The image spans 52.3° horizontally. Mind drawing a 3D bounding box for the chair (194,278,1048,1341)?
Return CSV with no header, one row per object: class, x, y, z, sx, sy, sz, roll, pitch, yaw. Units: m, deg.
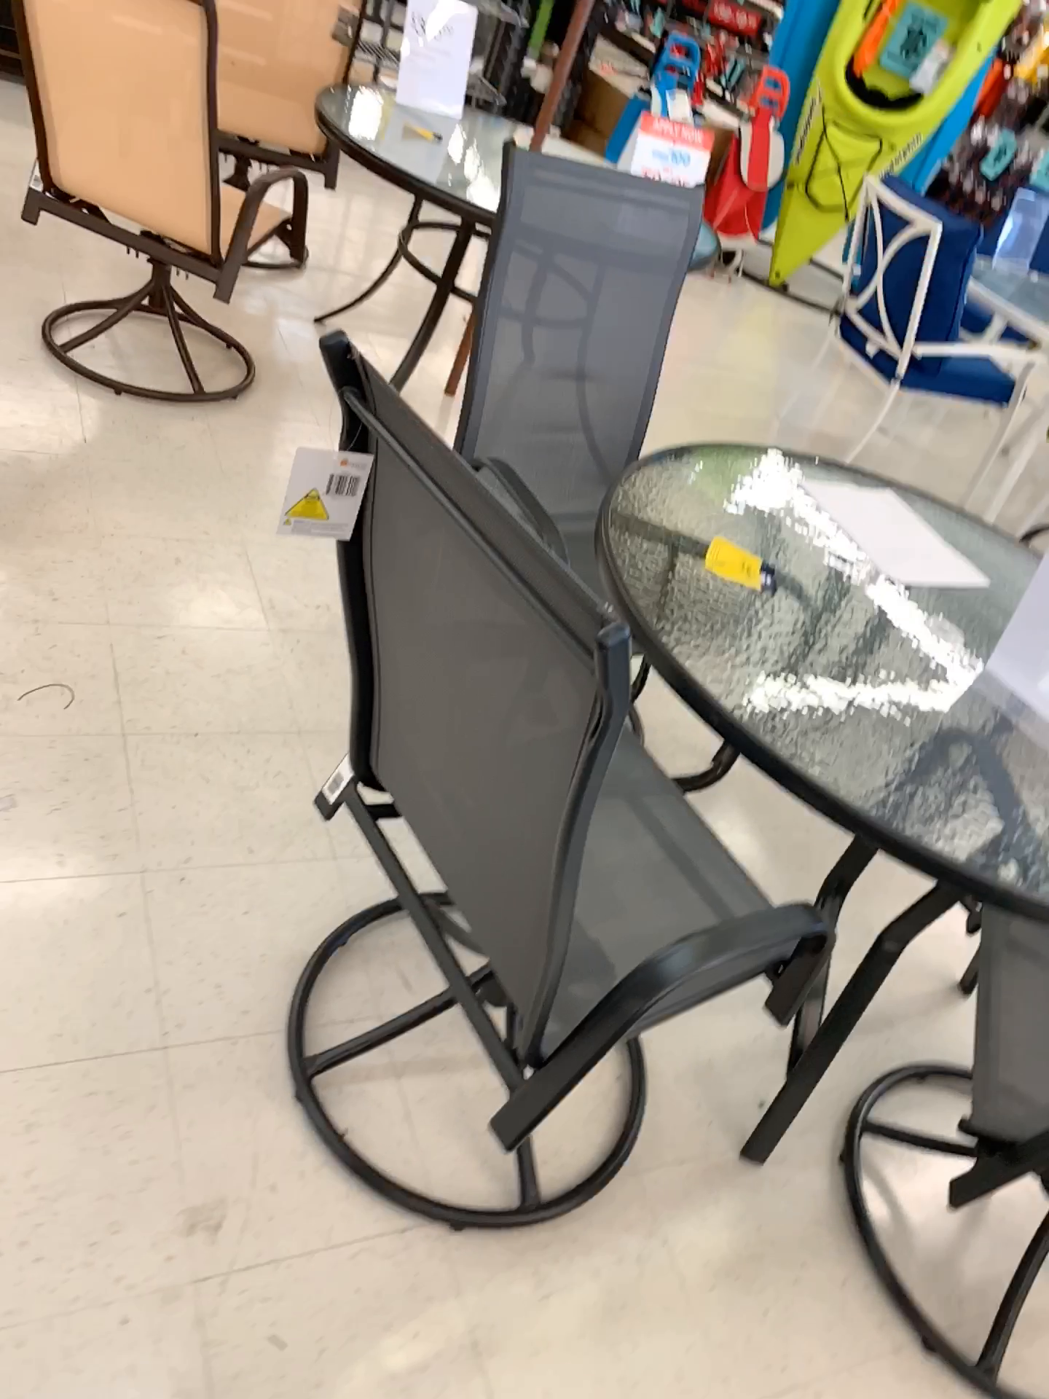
chair,0.085,0.130,1.278,0.642,0.975,0.581,-10,47,-37
